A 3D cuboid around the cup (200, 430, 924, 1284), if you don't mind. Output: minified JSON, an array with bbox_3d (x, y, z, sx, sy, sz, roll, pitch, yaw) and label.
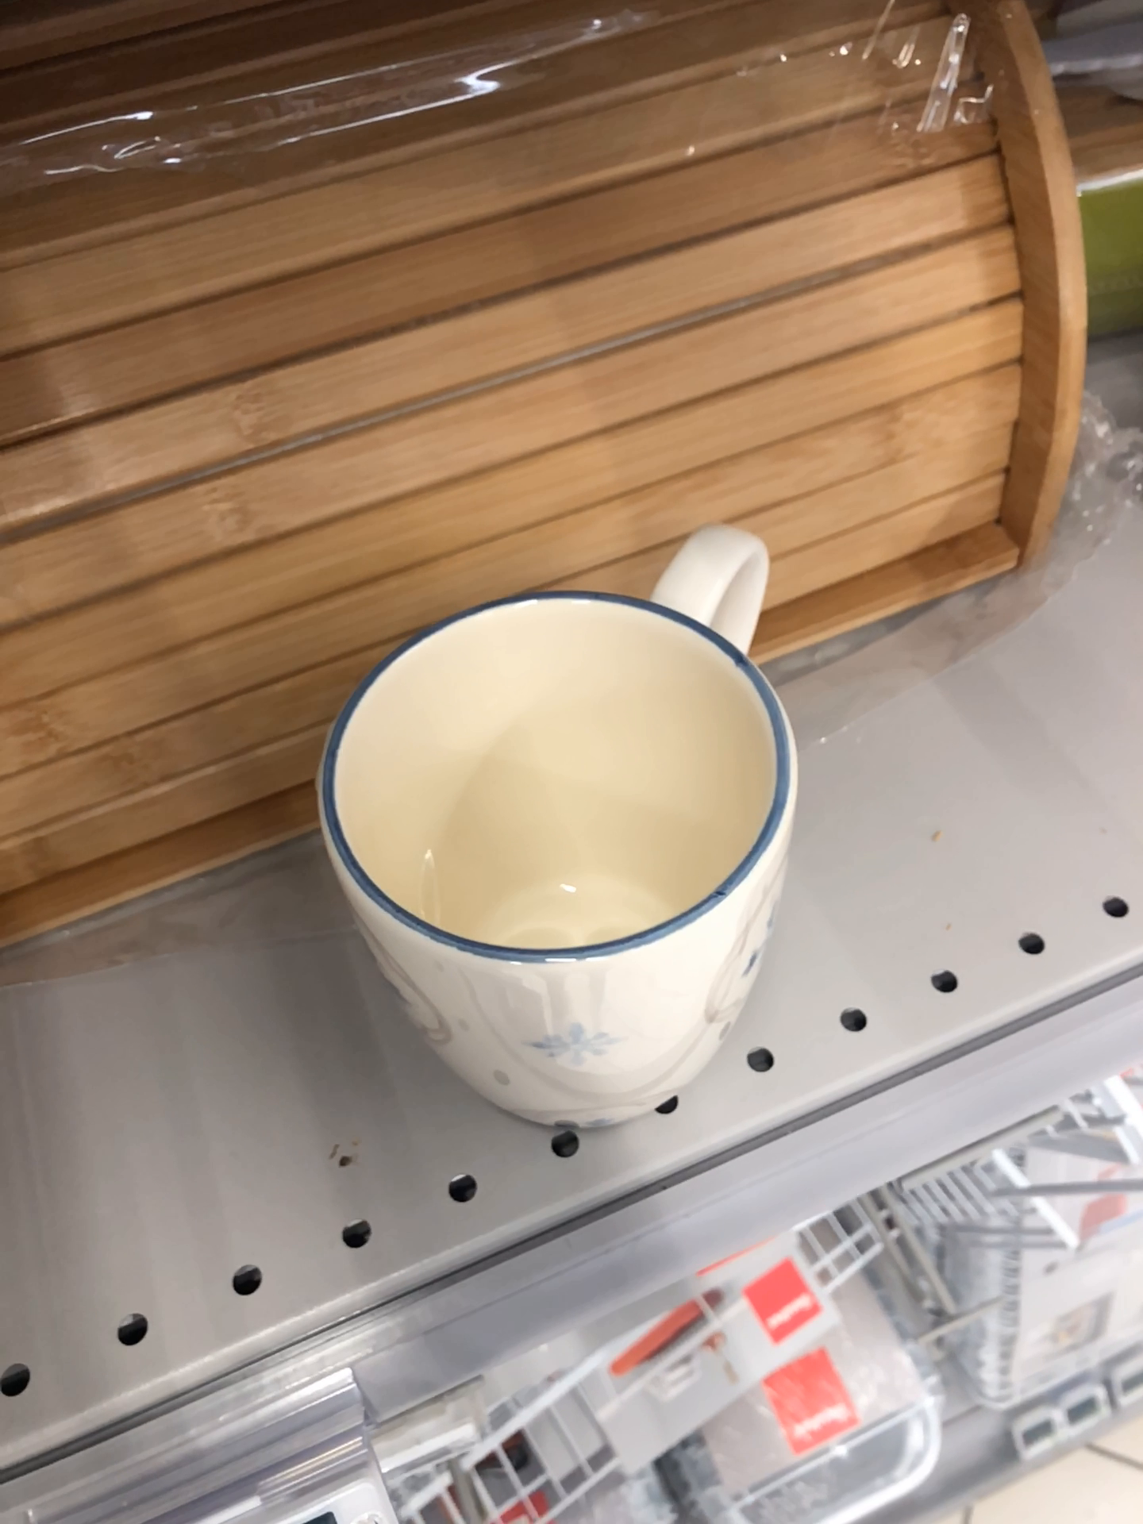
[{"bbox_3d":[0.007,0.016,0.269,0.083,0.089,0.134,19,57,17],"label":"cup"}]
